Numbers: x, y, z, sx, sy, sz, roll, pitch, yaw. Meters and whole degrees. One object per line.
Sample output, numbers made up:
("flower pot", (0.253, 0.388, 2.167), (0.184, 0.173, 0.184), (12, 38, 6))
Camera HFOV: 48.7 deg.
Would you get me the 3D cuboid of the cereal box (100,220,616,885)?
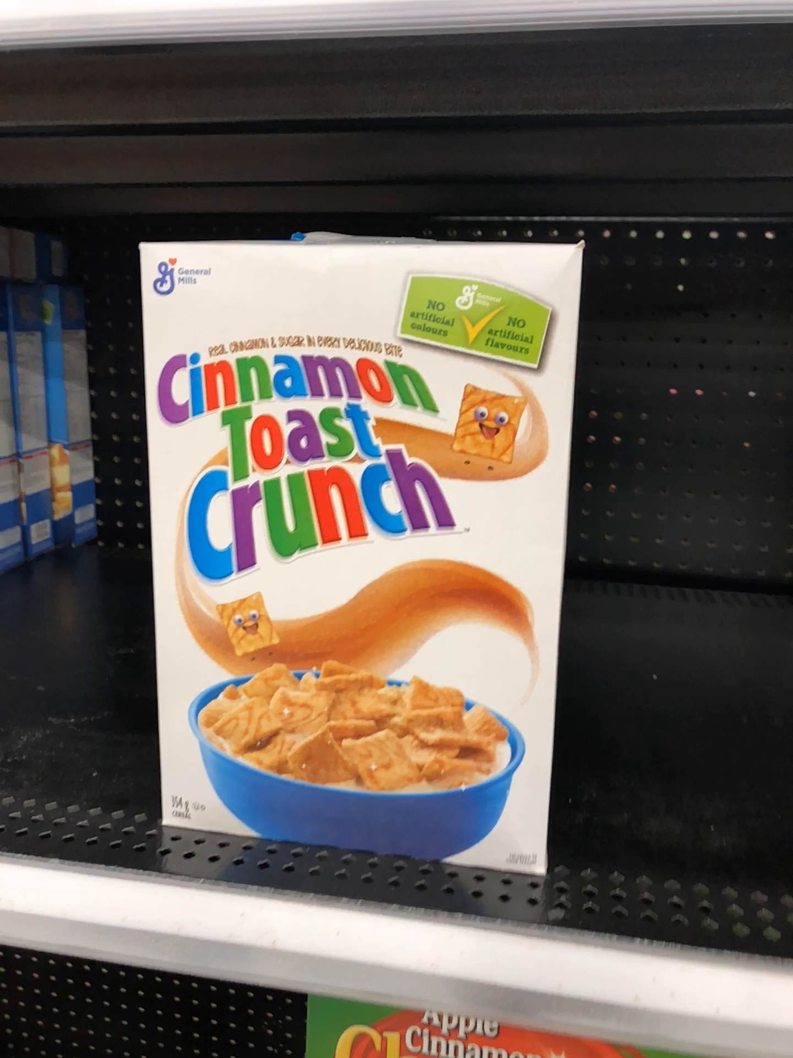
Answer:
("cereal box", (-0.019, 0.009, 0.401), (0.210, 0.279, 0.050), (3, 12, 10))
